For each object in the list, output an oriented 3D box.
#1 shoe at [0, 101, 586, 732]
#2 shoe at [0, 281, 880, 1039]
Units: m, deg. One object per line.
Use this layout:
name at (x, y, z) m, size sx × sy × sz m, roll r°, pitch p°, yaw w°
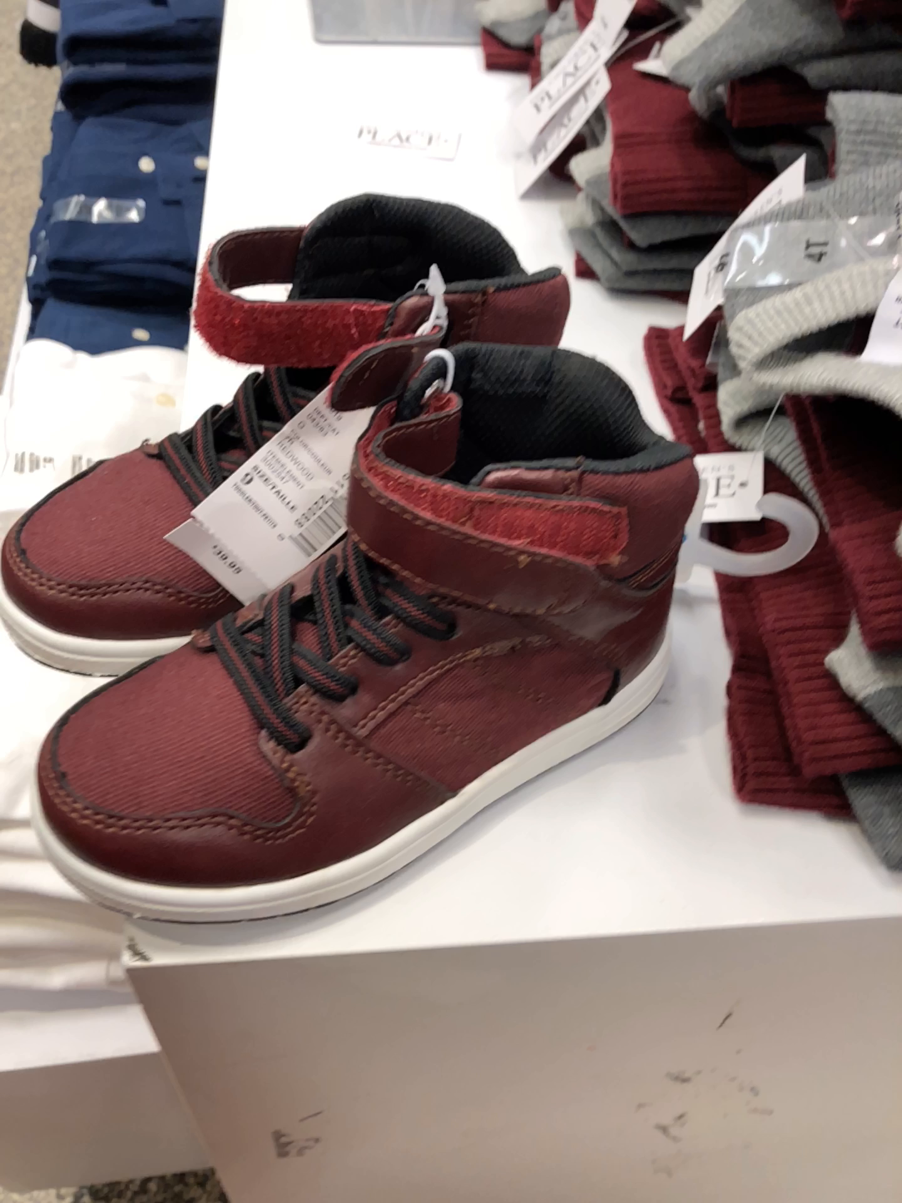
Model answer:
shoe at (-0.058, -0.052, 0.266) m, size 0.160 × 0.100 × 0.070 m, roll -24°, pitch 57°, yaw -23°
shoe at (-0.005, 0.008, 0.248) m, size 0.180 × 0.100 × 0.080 m, roll -24°, pitch 57°, yaw -23°
